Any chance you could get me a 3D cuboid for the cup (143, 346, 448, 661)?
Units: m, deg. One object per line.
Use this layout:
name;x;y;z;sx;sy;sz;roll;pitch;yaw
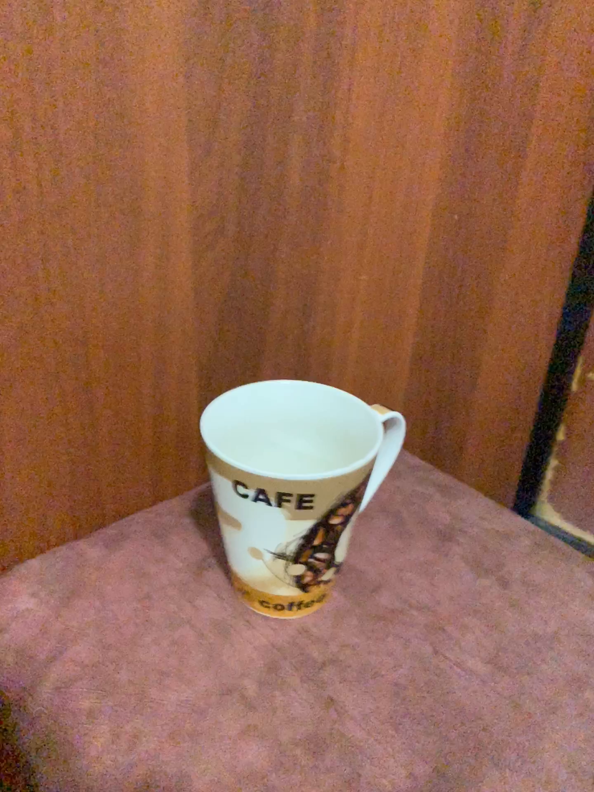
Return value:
cup;-0.002;0.046;0.327;0.119;0.091;0.095;-20;36;-37
